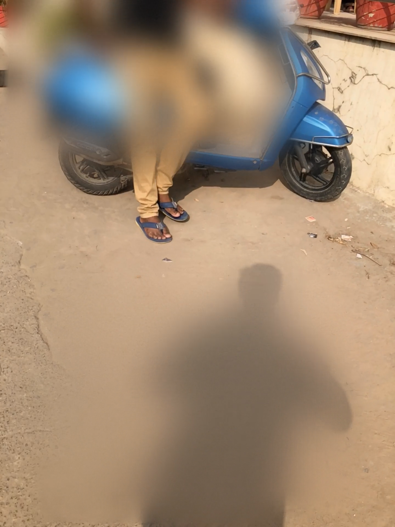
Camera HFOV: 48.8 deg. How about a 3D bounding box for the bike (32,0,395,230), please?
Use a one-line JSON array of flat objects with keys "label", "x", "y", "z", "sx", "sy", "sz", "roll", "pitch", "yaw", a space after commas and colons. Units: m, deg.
[{"label": "bike", "x": 0.047, "y": -0.828, "z": 2.243, "sx": 1.567, "sy": 1.020, "sz": 0.598, "roll": 5, "pitch": 33, "yaw": 6}]
